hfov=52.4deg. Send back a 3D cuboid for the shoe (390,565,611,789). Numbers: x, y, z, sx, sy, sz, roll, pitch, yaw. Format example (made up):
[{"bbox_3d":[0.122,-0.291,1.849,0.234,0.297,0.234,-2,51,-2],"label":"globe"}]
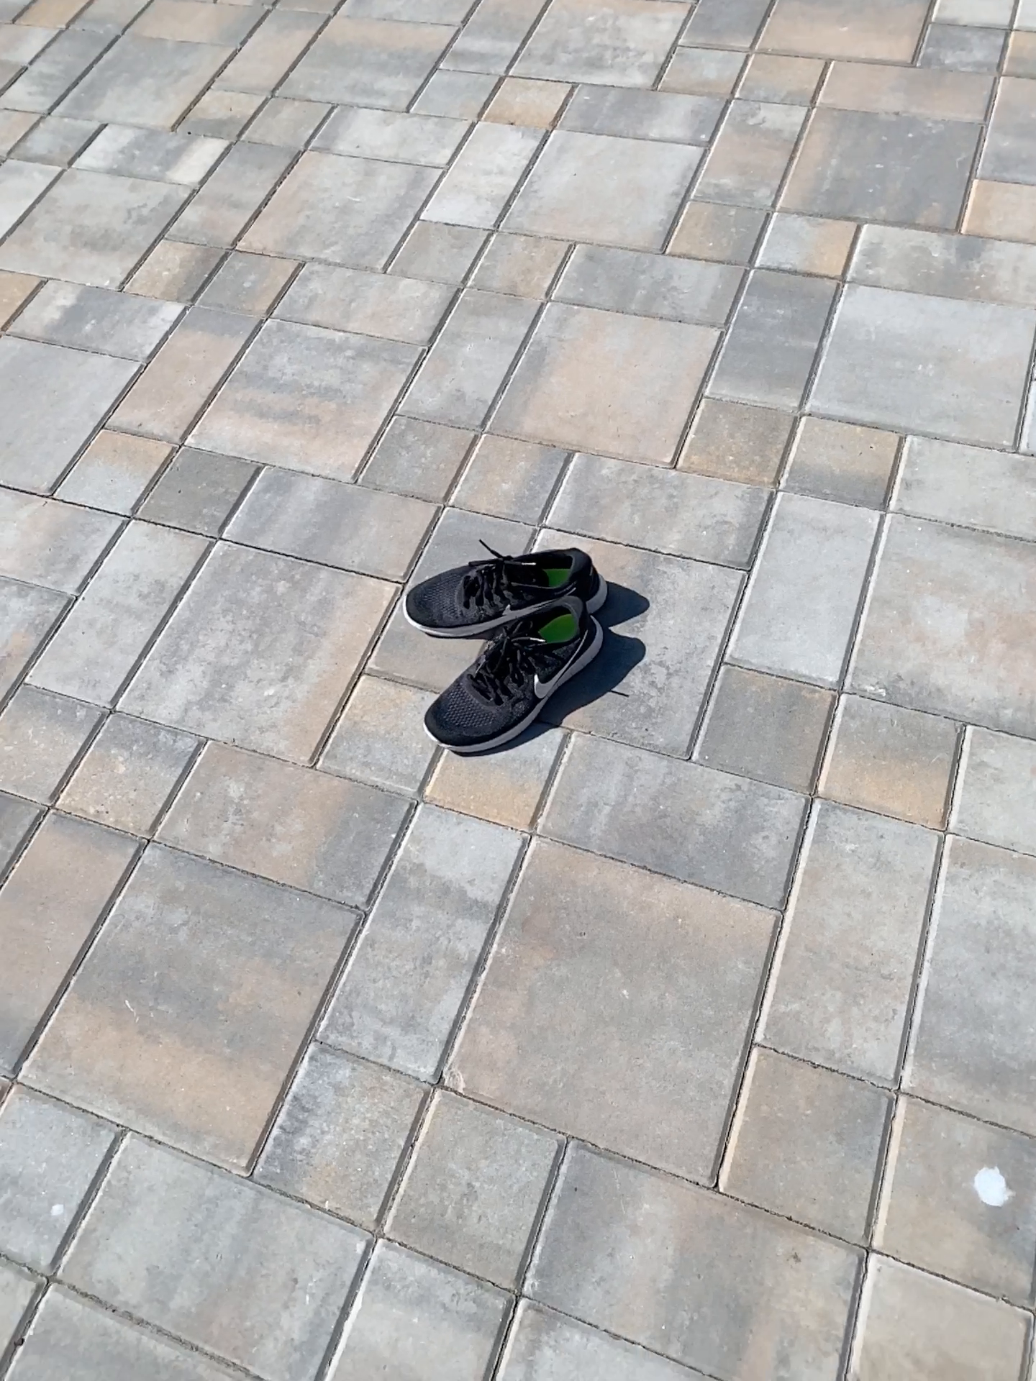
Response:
[{"bbox_3d":[-0.015,-0.018,1.290,0.250,0.110,0.110,-39,62,-16],"label":"shoe"}]

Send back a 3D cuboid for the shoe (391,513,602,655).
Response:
[{"bbox_3d":[-0.026,-0.135,1.341,0.250,0.100,0.110,-7,58,2],"label":"shoe"}]
